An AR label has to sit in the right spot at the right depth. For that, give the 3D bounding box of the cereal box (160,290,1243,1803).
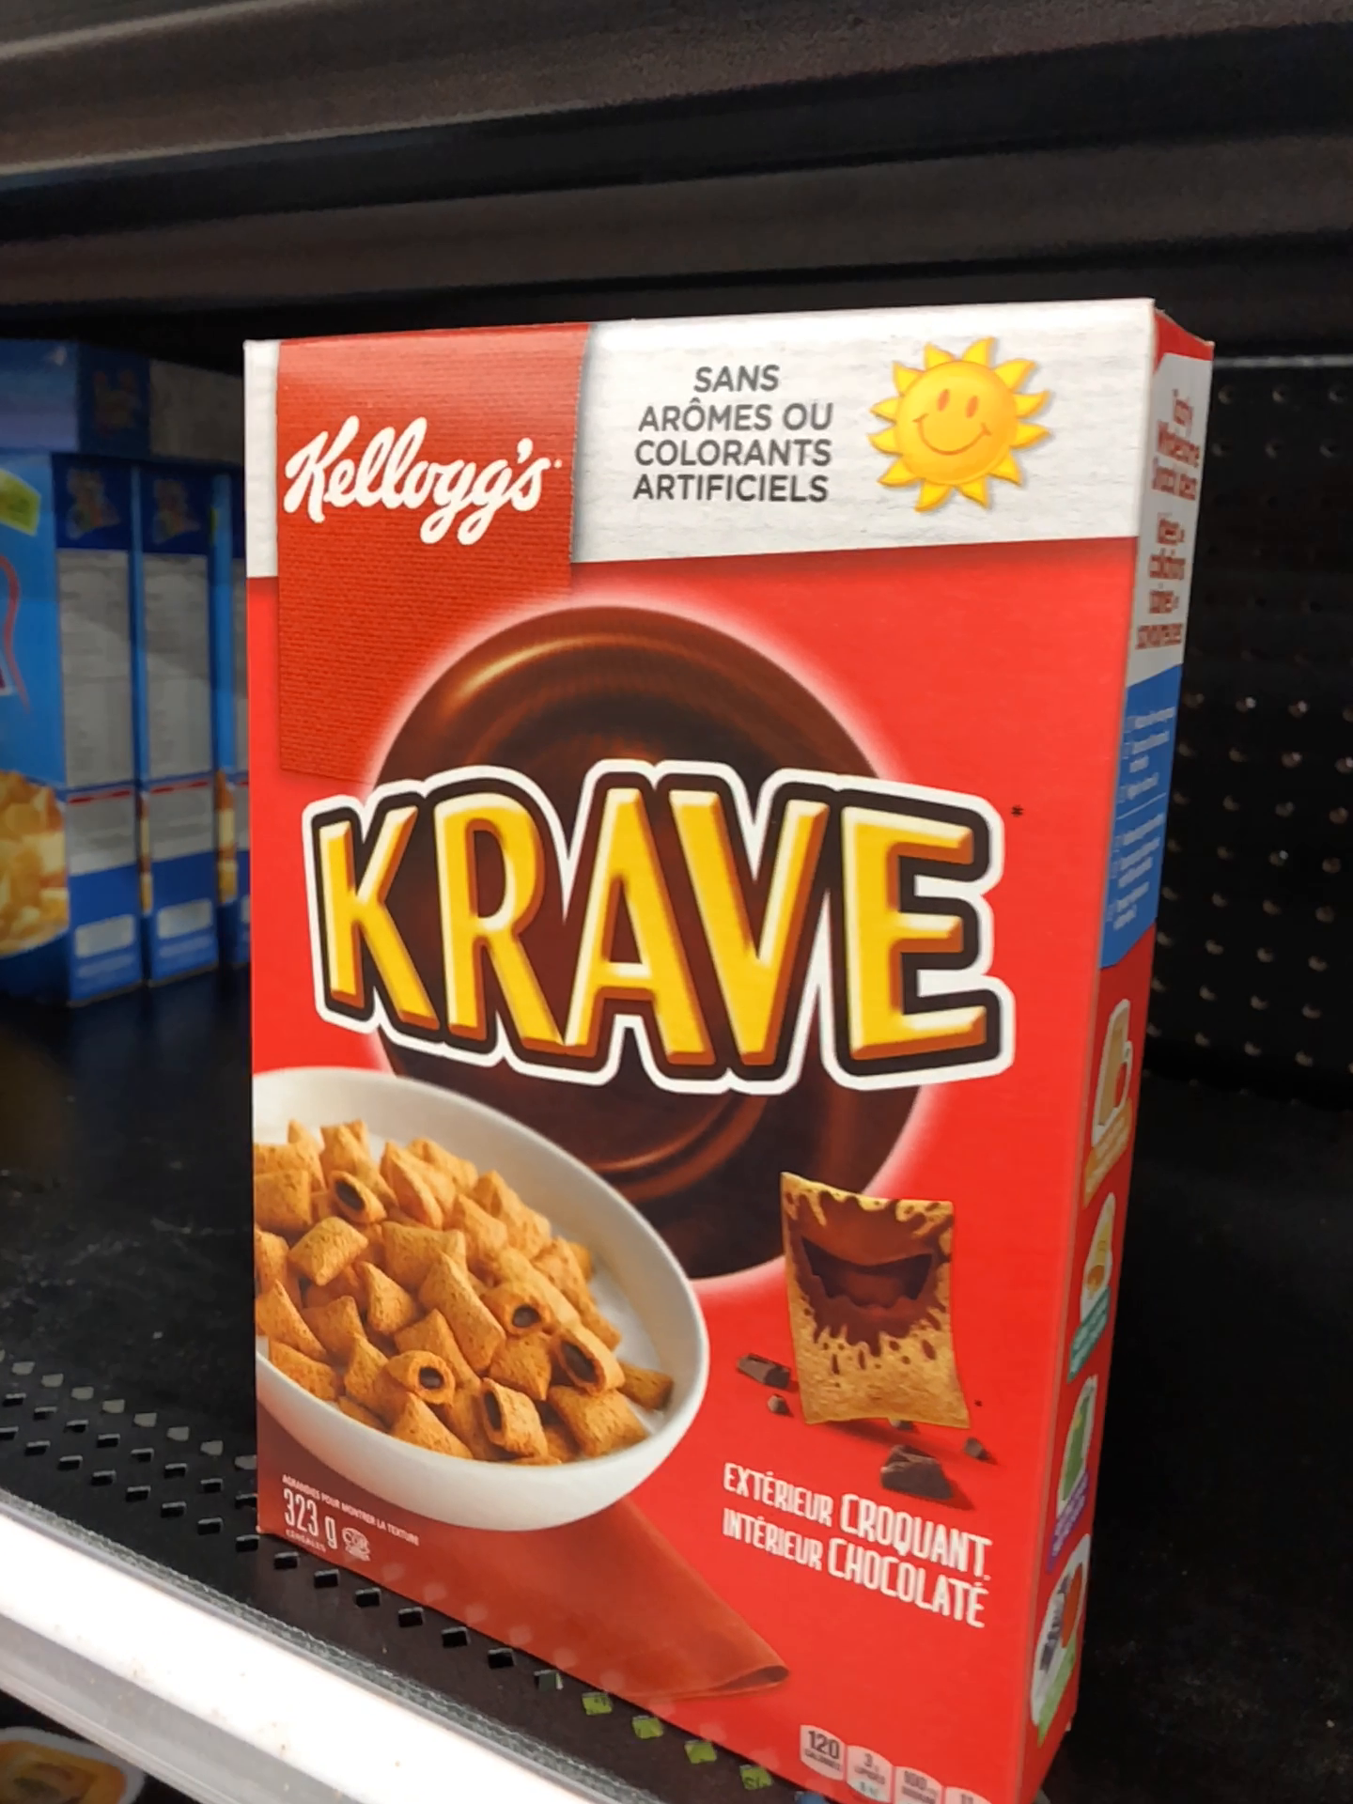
[{"bbox_3d":[-0.013,0.028,0.316,0.210,0.279,0.050,9,13,28],"label":"cereal box"}]
